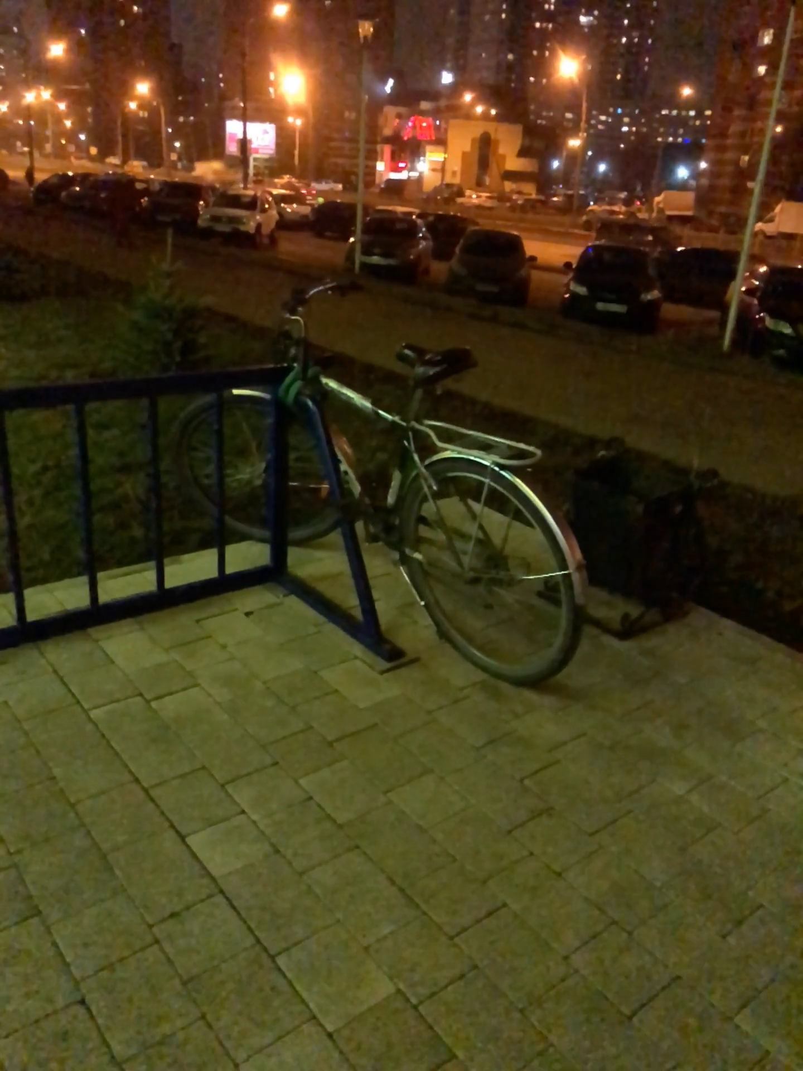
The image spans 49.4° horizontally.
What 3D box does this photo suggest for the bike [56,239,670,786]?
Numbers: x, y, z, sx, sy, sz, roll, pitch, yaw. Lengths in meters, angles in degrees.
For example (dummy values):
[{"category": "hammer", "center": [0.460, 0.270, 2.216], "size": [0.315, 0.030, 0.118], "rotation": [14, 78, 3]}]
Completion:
[{"category": "bike", "center": [-0.233, -0.230, 2.709], "size": [1.721, 1.046, 0.681], "rotation": [24, 30, 36]}]
